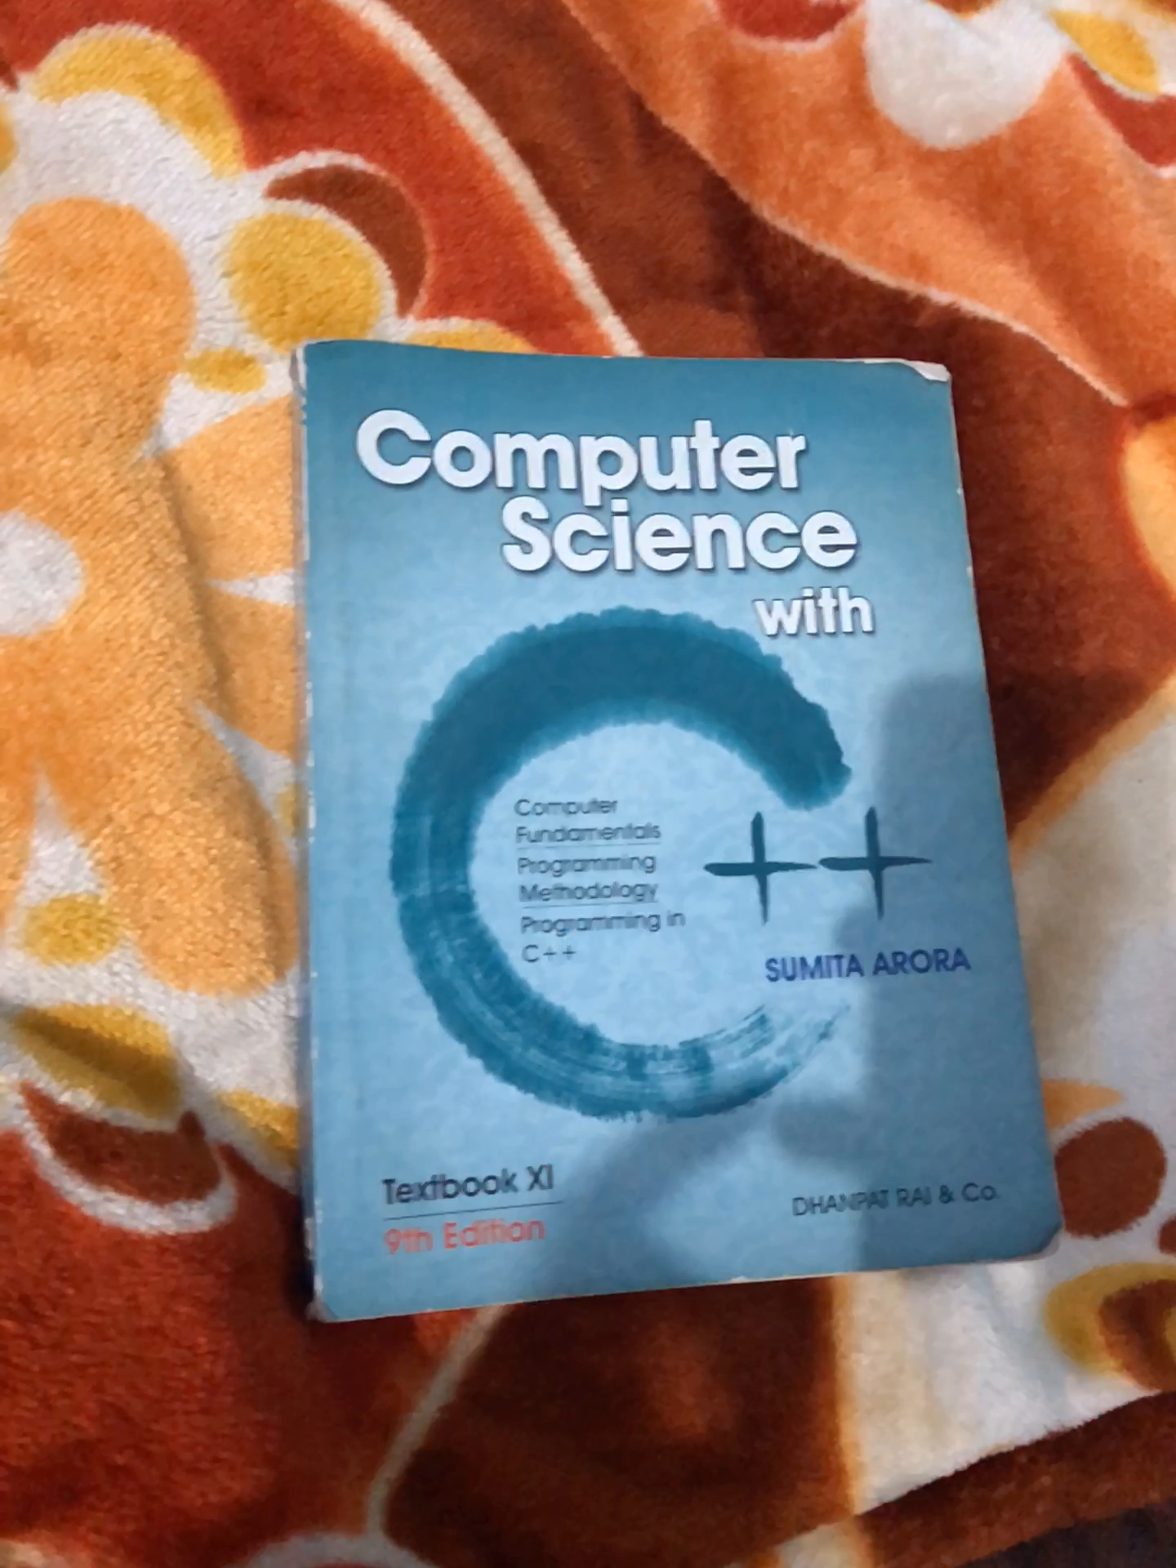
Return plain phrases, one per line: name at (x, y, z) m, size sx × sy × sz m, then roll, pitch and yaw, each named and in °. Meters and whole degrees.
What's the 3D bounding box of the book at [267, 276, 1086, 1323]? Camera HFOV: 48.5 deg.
book at (0.018, -0.004, 0.372) m, size 0.210 × 0.040 × 0.270 m, roll -1°, pitch 79°, yaw -12°
